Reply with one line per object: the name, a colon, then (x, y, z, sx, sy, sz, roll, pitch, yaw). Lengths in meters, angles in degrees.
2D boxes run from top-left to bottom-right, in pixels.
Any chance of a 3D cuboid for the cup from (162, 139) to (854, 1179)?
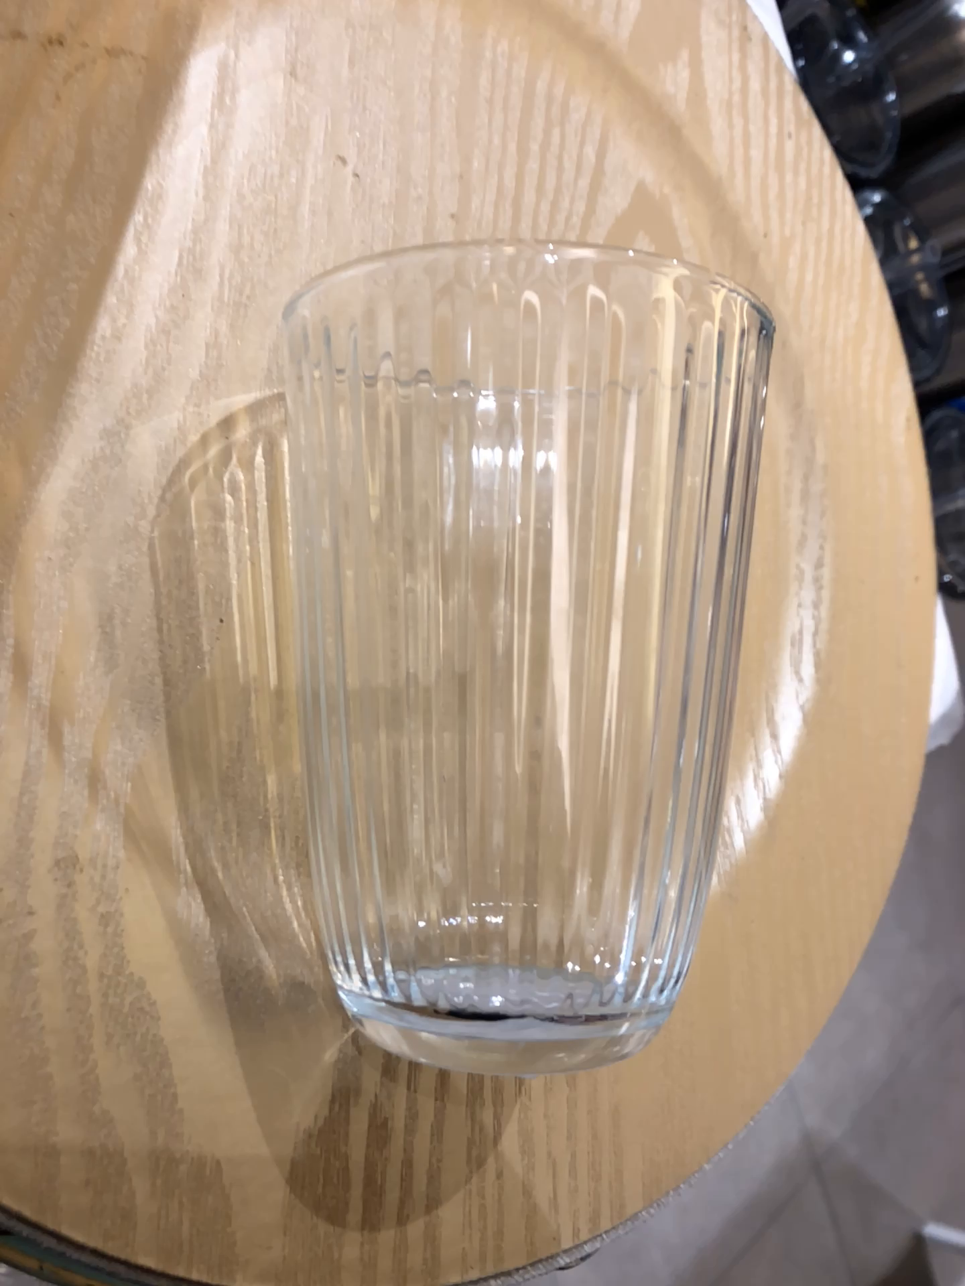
cup: (0.003, 0.004, 0.189, 0.091, 0.070, 0.130, 1, 82, -38)
